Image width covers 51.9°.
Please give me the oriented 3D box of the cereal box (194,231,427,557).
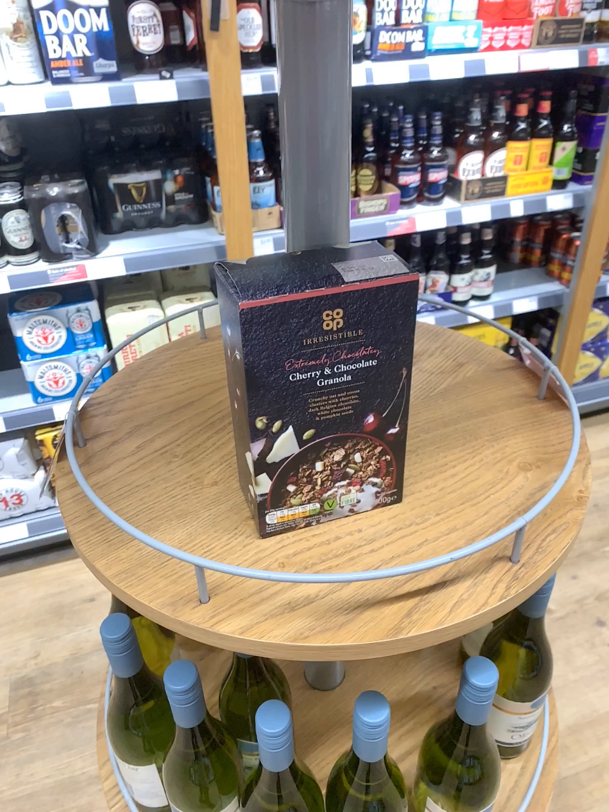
[{"bbox_3d":[0.004,-0.007,0.495,0.140,0.218,0.091,-12,35,-14],"label":"cereal box"}]
